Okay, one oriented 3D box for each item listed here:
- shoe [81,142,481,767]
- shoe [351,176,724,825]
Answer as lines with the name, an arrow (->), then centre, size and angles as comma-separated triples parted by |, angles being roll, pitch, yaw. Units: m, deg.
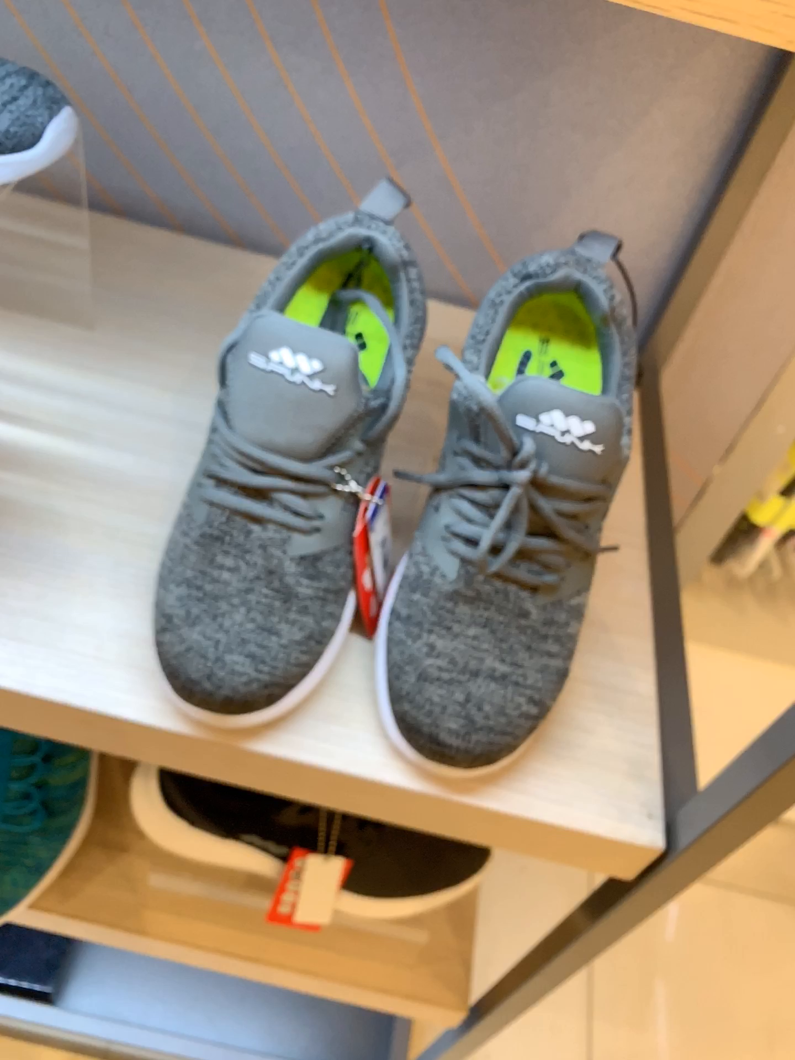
shoe -> -0.042, -0.031, 0.369 | 0.080, 0.080, 0.241 | 18, 80, 2
shoe -> 0.056, -0.013, 0.368 | 0.090, 0.080, 0.240 | 16, 84, -2
